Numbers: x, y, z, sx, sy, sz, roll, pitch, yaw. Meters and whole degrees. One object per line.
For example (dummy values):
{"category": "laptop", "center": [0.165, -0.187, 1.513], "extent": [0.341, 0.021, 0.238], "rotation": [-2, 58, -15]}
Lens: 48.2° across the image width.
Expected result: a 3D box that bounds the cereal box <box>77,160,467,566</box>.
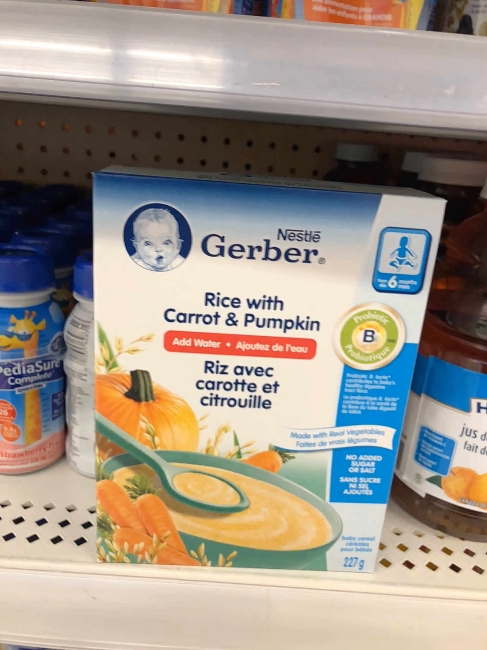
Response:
{"category": "cereal box", "center": [0.003, 0.023, 0.261], "extent": [0.150, 0.179, 0.050], "rotation": [4, 20, -4]}
